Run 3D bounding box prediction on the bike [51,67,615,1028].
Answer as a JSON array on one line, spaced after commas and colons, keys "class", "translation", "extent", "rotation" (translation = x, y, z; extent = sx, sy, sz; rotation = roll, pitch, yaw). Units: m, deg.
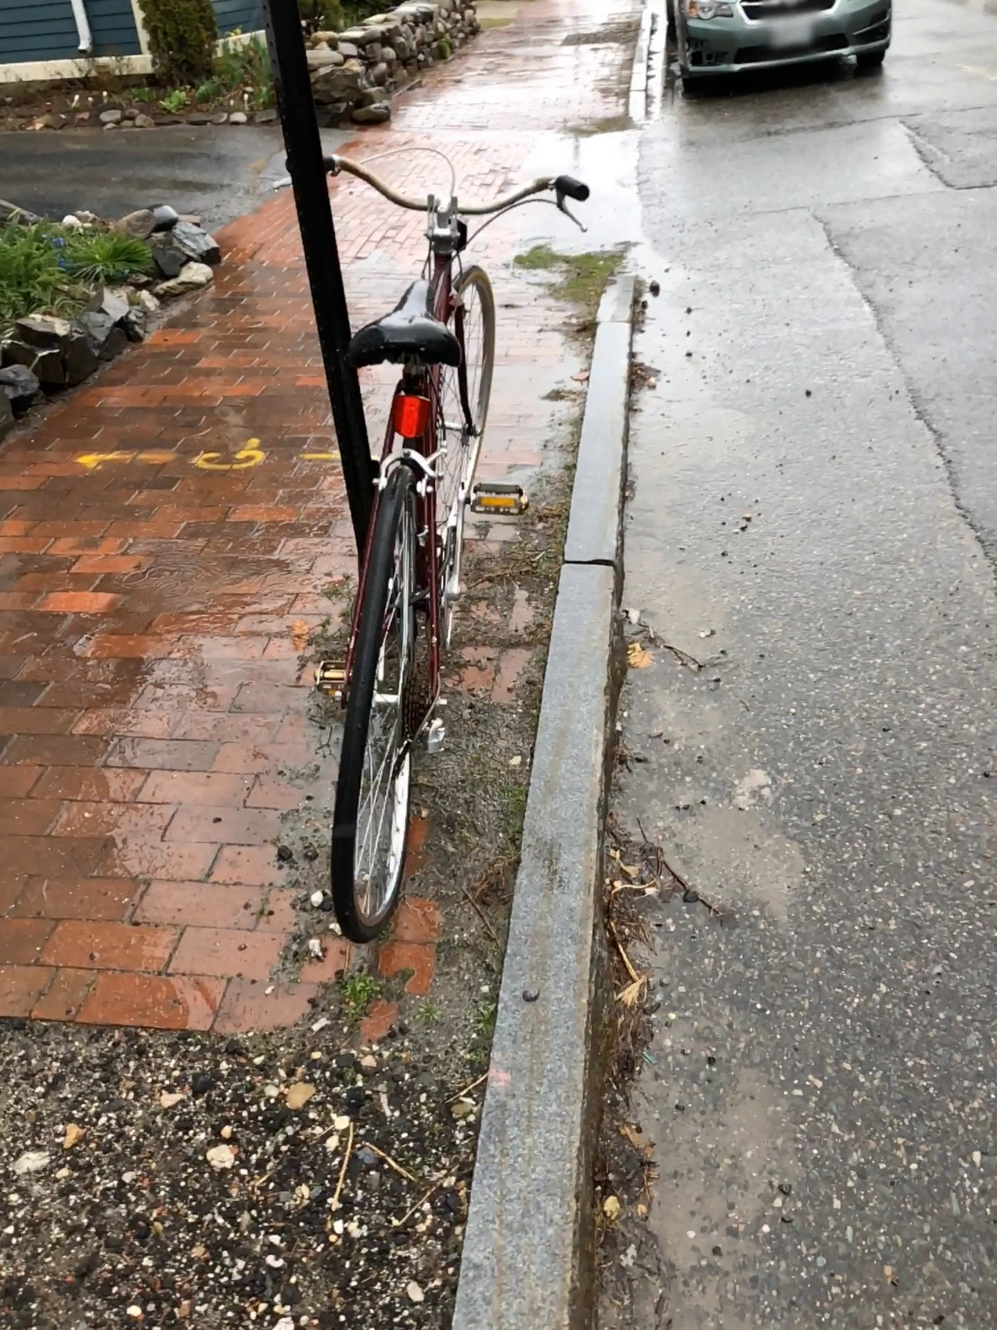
[{"class": "bike", "translation": [-0.057, -0.371, 1.864], "extent": [0.498, 0.907, 1.618], "rotation": [0, 35, 6]}]
